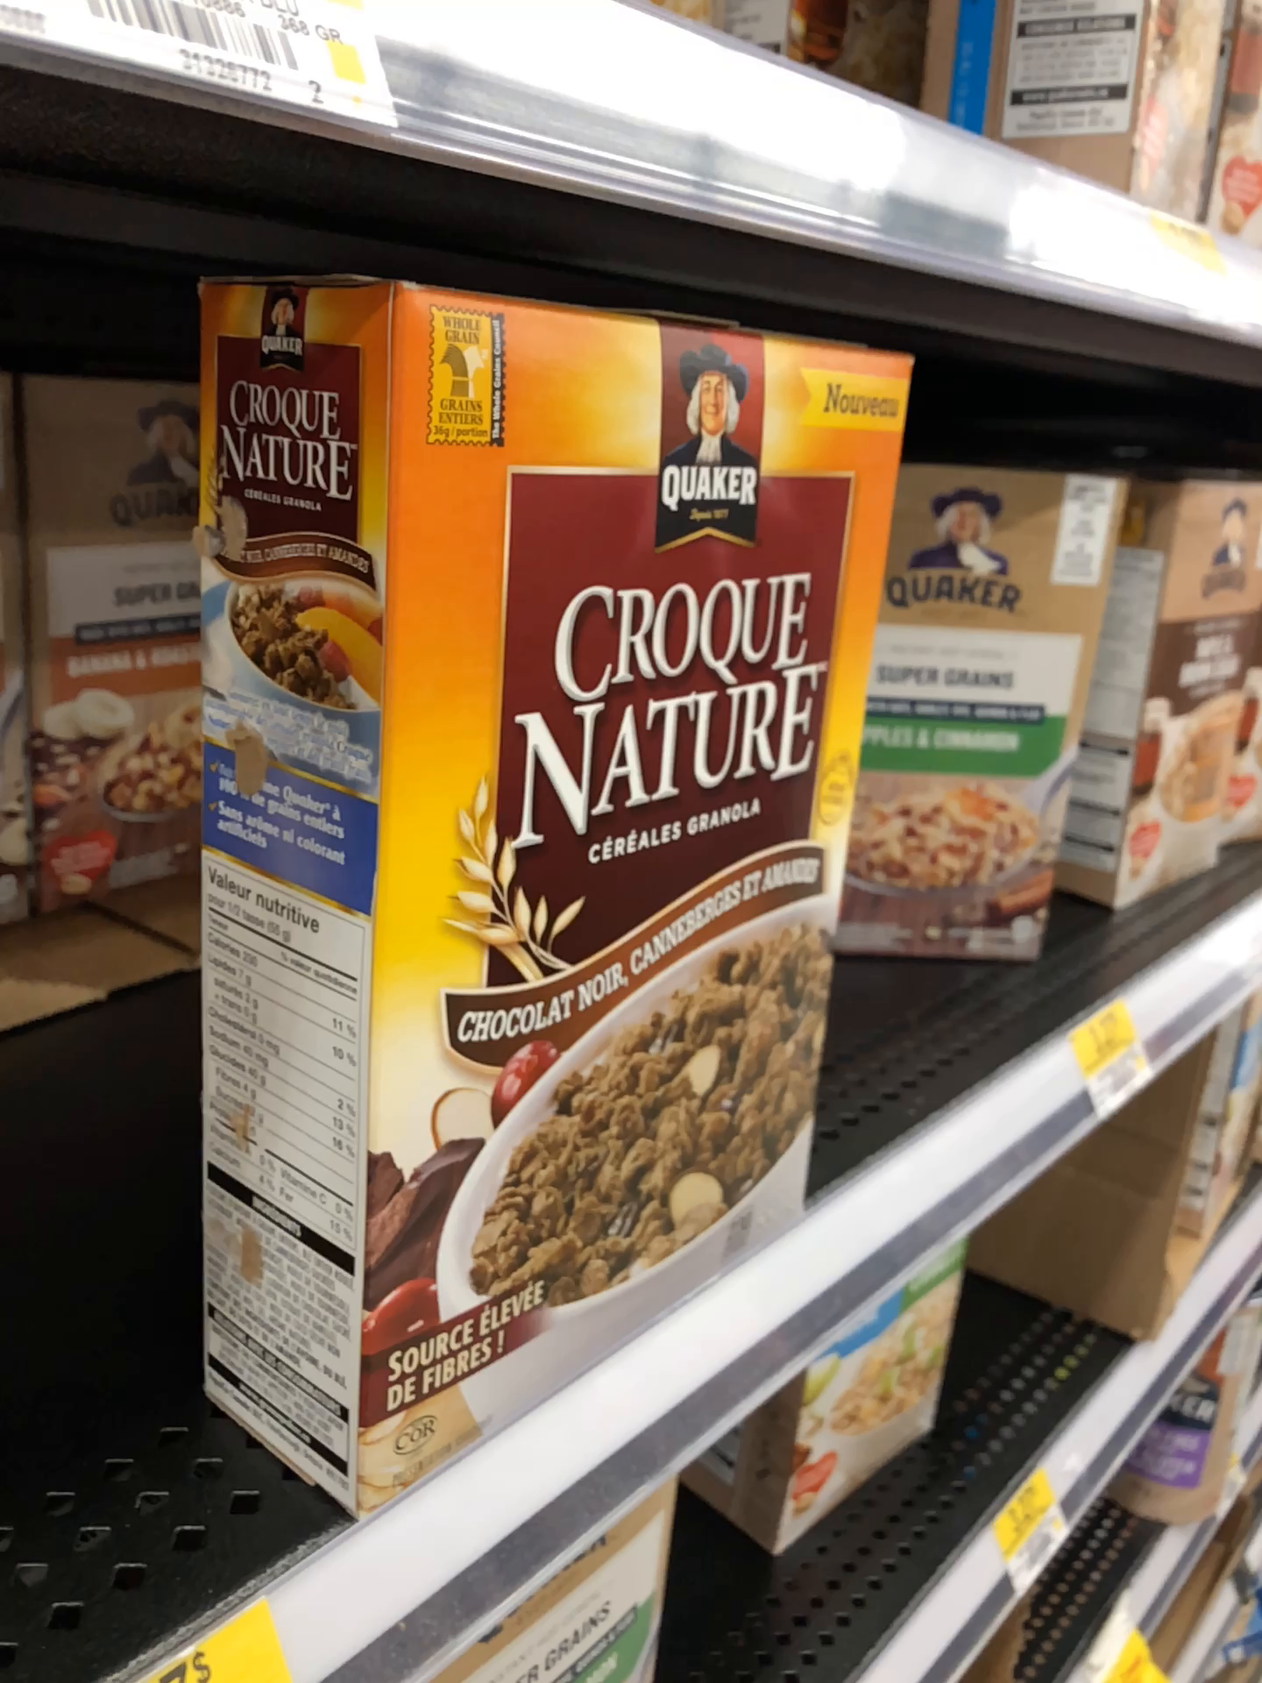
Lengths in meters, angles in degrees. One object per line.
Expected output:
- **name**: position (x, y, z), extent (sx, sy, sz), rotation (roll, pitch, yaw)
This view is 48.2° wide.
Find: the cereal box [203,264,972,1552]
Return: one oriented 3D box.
- **cereal box**: position (-0.006, 0.005, 0.314), extent (0.050, 0.229, 0.171), rotation (20, 23, 36)
